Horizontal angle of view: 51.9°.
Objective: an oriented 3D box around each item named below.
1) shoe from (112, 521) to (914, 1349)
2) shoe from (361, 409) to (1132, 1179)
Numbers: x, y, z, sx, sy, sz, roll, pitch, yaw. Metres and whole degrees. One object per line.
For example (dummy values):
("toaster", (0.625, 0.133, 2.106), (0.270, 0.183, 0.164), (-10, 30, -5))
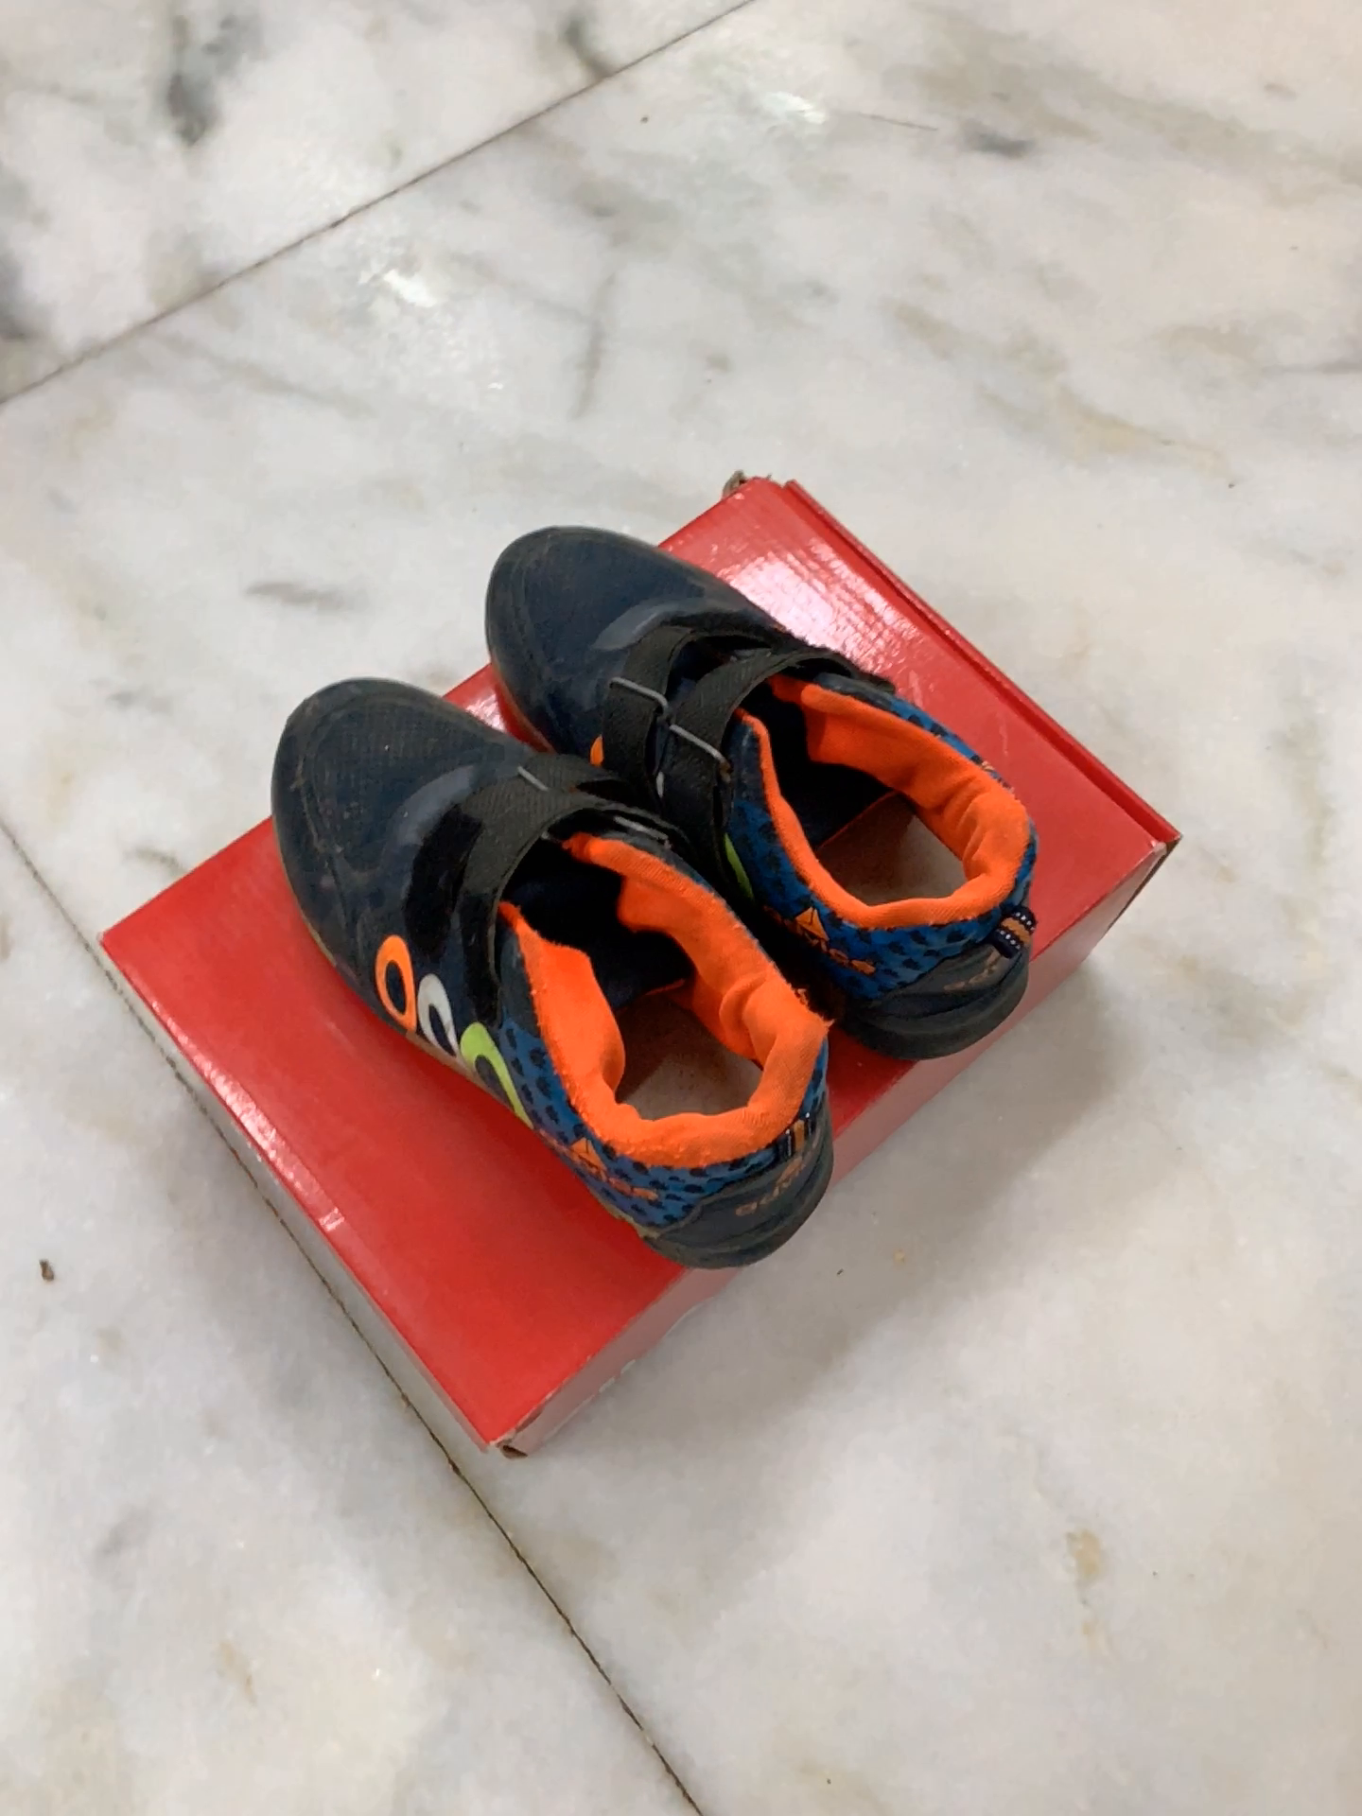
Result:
("shoe", (-0.047, 0.006, 0.379), (0.080, 0.080, 0.210), (-40, 72, -17))
("shoe", (0.012, -0.035, 0.424), (0.090, 0.090, 0.210), (-40, 72, -17))
